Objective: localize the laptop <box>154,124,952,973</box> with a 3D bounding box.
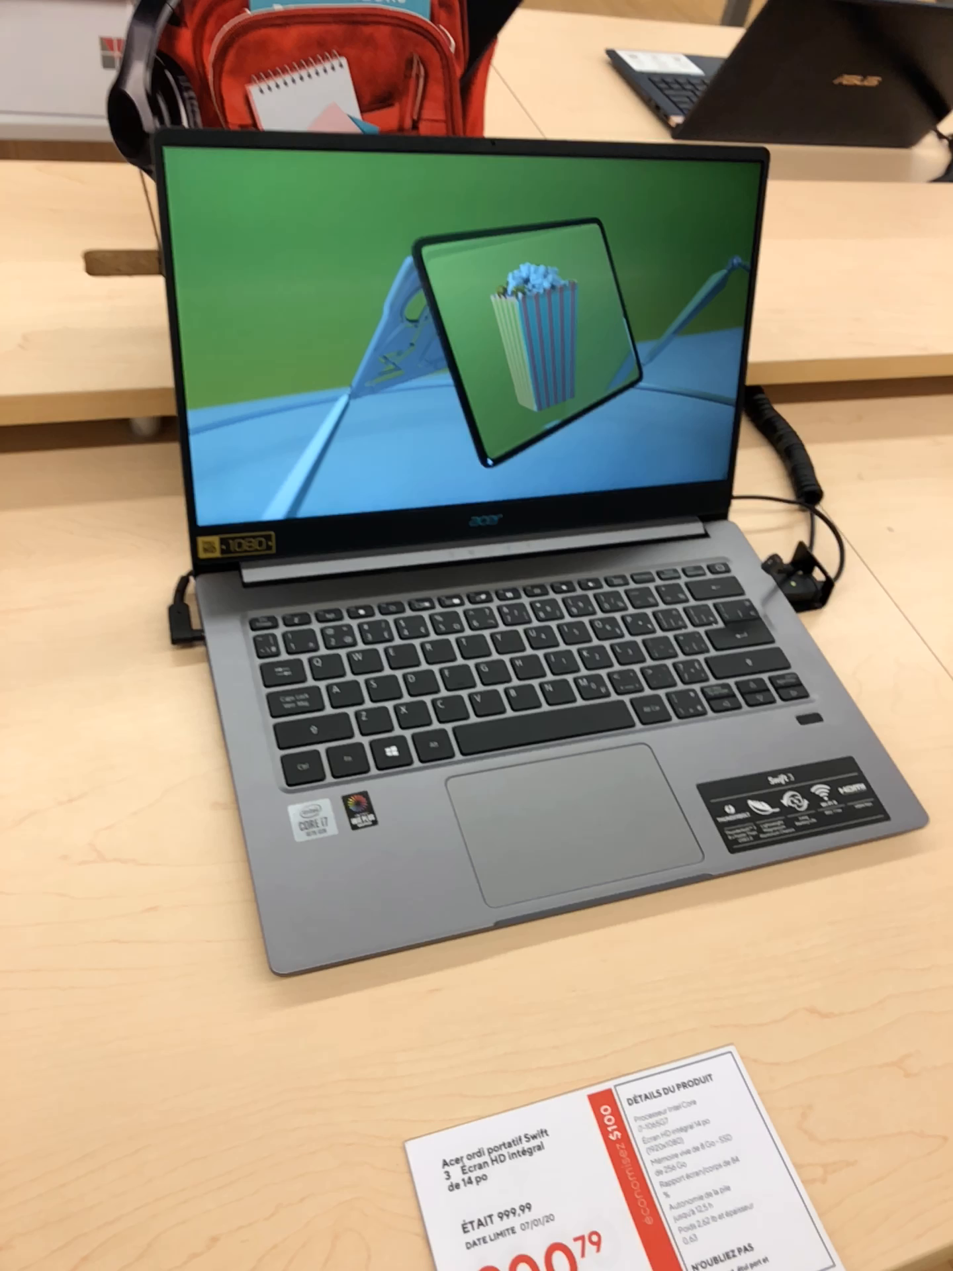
[{"bbox_3d":[0.039,-0.066,0.482,0.315,0.177,0.312,-7,51,-20],"label":"laptop"}]
